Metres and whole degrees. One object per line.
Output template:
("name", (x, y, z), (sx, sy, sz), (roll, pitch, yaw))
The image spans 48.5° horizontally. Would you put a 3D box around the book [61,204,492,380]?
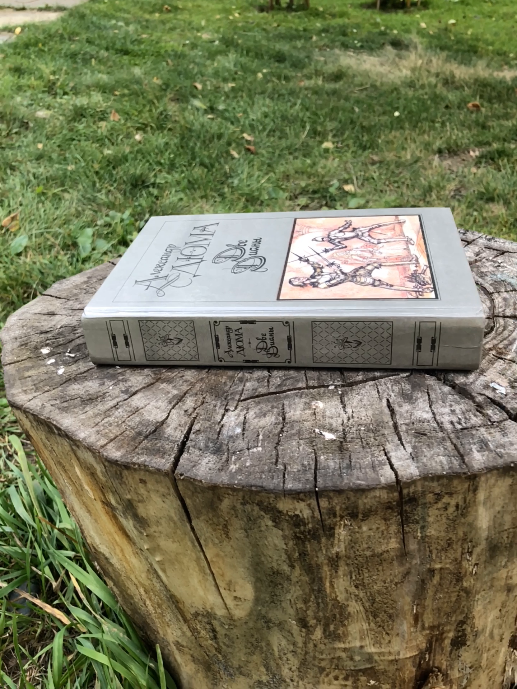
("book", (0.013, -0.038, 0.334), (0.204, 0.030, 0.141), (1, 36, 9))
